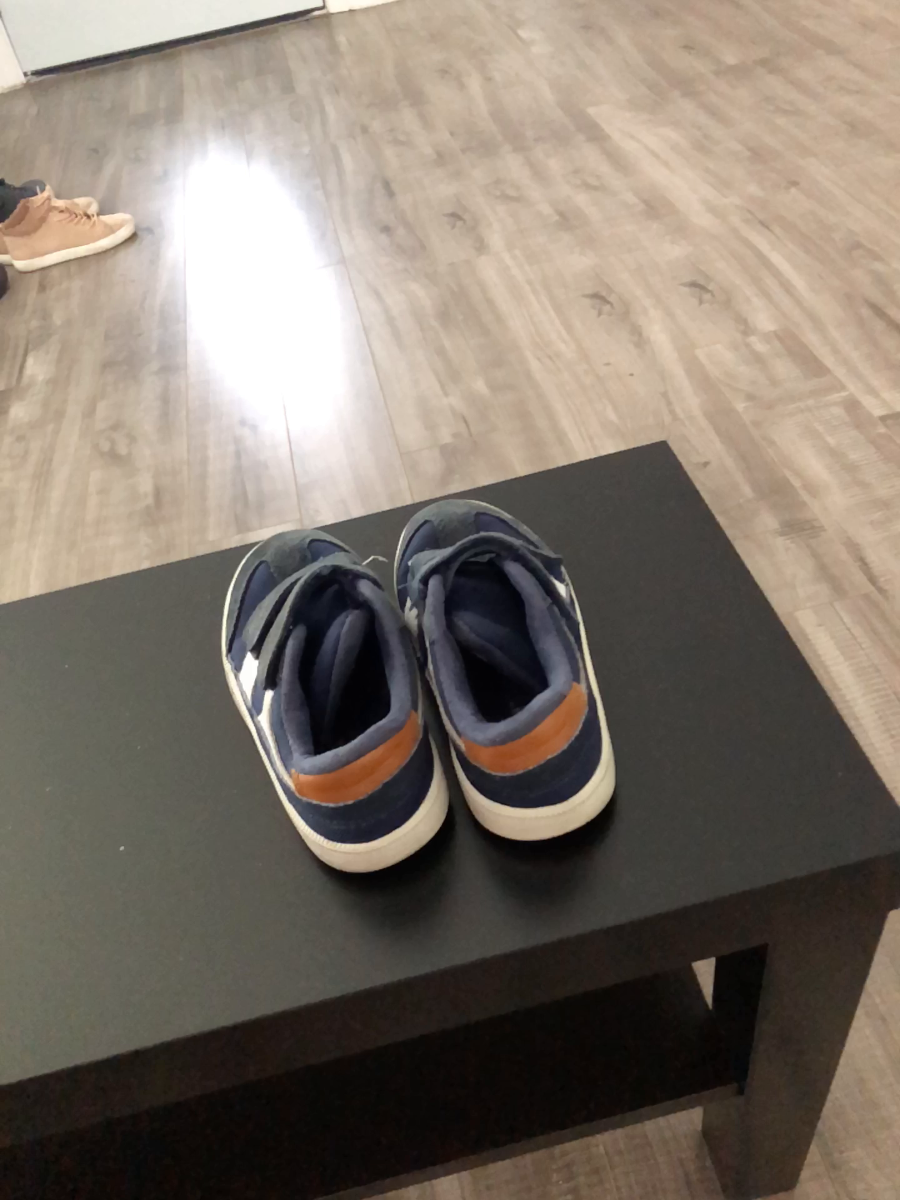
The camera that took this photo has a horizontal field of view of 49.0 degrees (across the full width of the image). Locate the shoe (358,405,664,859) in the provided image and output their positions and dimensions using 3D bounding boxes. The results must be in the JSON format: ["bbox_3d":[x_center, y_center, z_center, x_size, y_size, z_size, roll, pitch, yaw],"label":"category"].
[{"bbox_3d":[0.019,0.003,0.419,0.082,0.067,0.186,-13,43,-2],"label":"shoe"}]

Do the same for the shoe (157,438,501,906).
[{"bbox_3d":[-0.058,0.019,0.419,0.088,0.067,0.186,-20,44,-9],"label":"shoe"}]
